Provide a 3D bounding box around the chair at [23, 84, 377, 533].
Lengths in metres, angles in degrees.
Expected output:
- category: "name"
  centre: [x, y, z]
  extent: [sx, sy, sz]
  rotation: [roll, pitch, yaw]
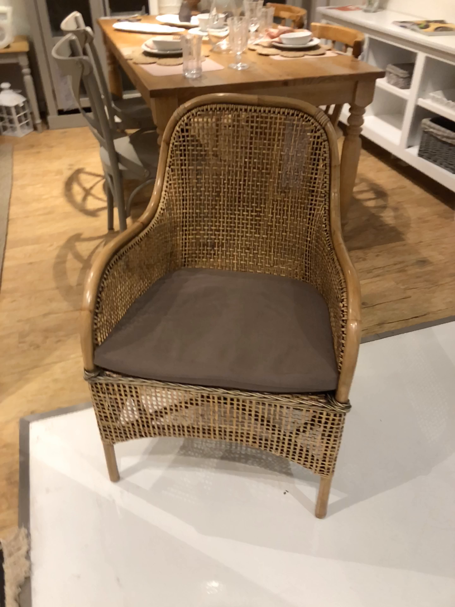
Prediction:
- category: "chair"
  centre: [-0.009, 0.007, 1.269]
  extent: [0.540, 0.903, 0.625]
  rotation: [4, 37, 6]
